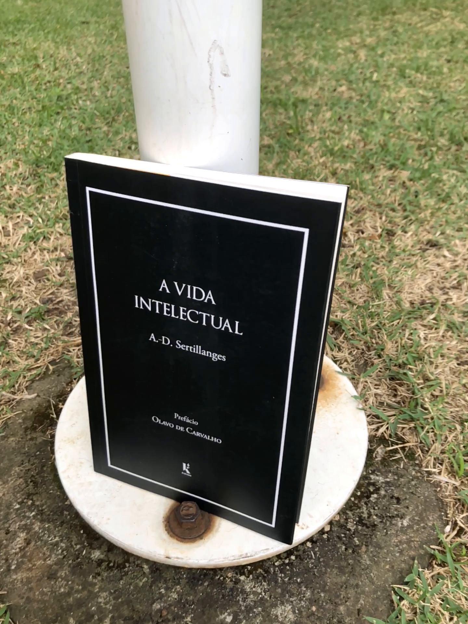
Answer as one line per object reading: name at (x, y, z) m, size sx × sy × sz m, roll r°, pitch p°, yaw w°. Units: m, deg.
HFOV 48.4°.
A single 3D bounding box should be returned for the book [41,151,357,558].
book at (-0.024, 0.026, 0.269) m, size 0.140 × 0.193 × 0.025 m, roll 13°, pitch 29°, yaw 20°
